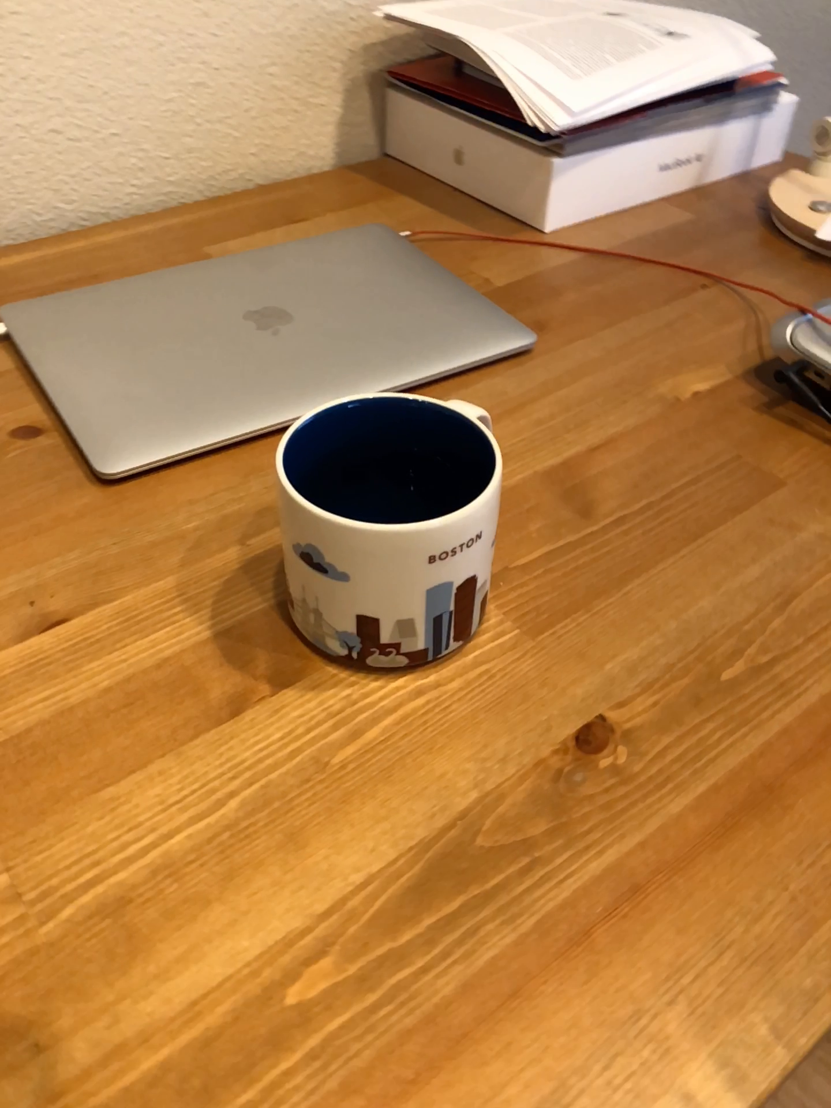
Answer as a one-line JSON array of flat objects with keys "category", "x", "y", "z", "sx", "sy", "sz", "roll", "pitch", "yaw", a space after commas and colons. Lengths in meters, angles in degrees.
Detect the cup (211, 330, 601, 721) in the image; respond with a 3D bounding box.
[{"category": "cup", "x": -0.001, "y": -0.021, "z": 0.422, "sx": 0.100, "sy": 0.090, "sz": 0.140, "roll": 29, "pitch": 48, "yaw": 27}]
